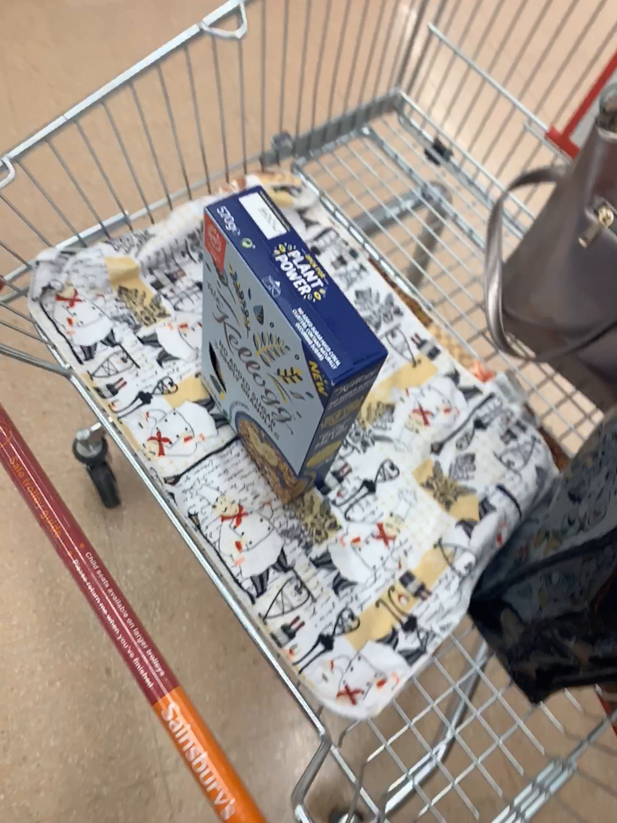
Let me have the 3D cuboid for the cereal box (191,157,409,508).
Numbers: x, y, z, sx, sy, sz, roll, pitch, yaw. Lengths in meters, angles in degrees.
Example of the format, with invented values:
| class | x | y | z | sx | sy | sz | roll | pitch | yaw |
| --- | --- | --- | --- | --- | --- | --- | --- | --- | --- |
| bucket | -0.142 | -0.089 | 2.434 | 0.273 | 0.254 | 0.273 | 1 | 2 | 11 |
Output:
| class | x | y | z | sx | sy | sz | roll | pitch | yaw |
| --- | --- | --- | --- | --- | --- | --- | --- | --- | --- |
| cereal box | -0.028 | -0.043 | 0.512 | 0.050 | 0.249 | 0.170 | -28 | 72 | -23 |
